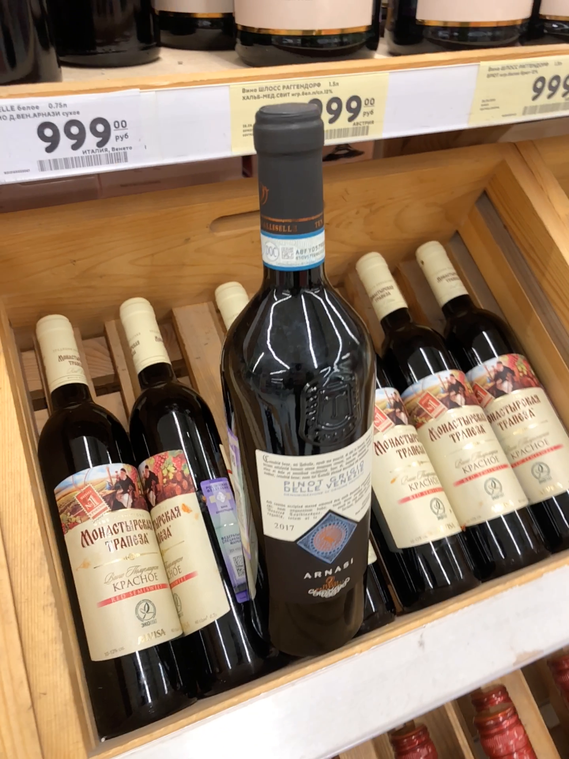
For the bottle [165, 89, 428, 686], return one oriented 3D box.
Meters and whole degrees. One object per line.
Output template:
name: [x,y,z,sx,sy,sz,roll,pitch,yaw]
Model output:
bottle: [0.009,0.019,0.350,0.090,0.318,0.080,-13,31,-17]
